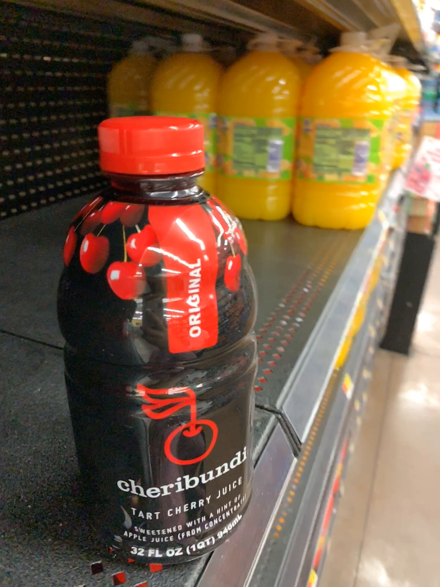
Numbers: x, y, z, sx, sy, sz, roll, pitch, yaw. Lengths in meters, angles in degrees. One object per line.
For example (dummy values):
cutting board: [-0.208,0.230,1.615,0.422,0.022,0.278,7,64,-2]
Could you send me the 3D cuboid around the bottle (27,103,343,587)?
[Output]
bottle: [-0.024,0.025,0.216,0.095,0.204,0.090,2,25,-1]
